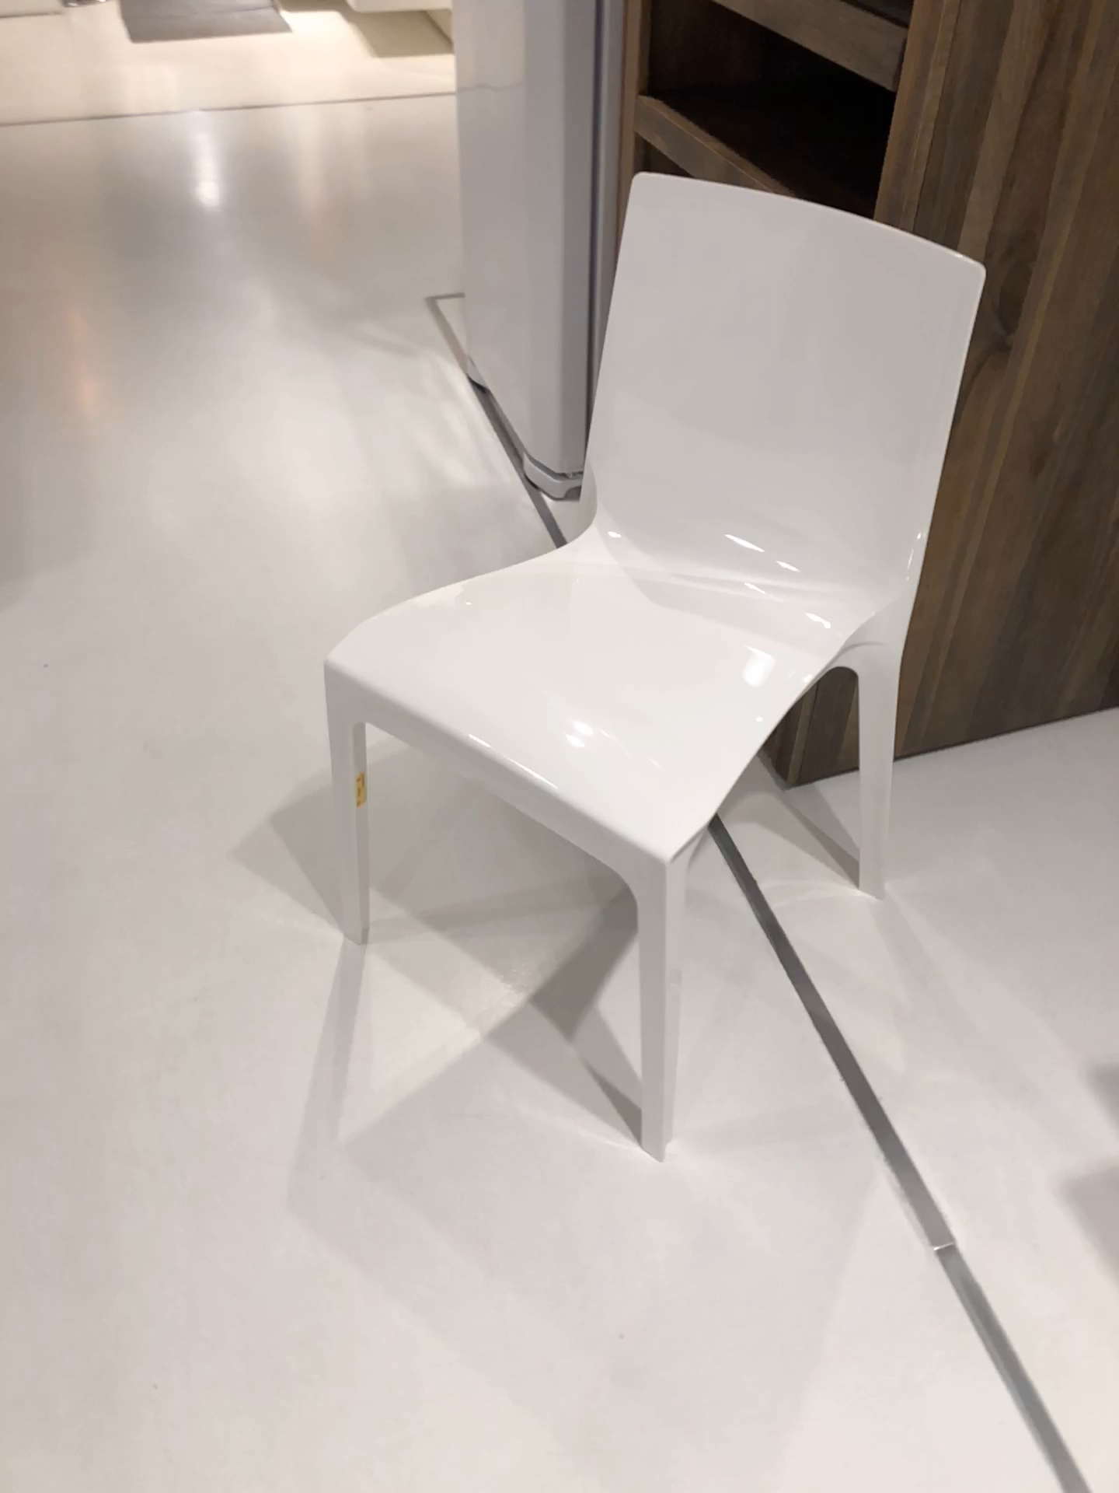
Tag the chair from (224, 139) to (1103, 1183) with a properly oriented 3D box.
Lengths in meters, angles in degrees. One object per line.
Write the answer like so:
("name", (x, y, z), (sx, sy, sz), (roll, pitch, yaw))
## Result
("chair", (0.092, -0.087, 1.221), (0.481, 0.754, 0.523), (28, 49, 26))
